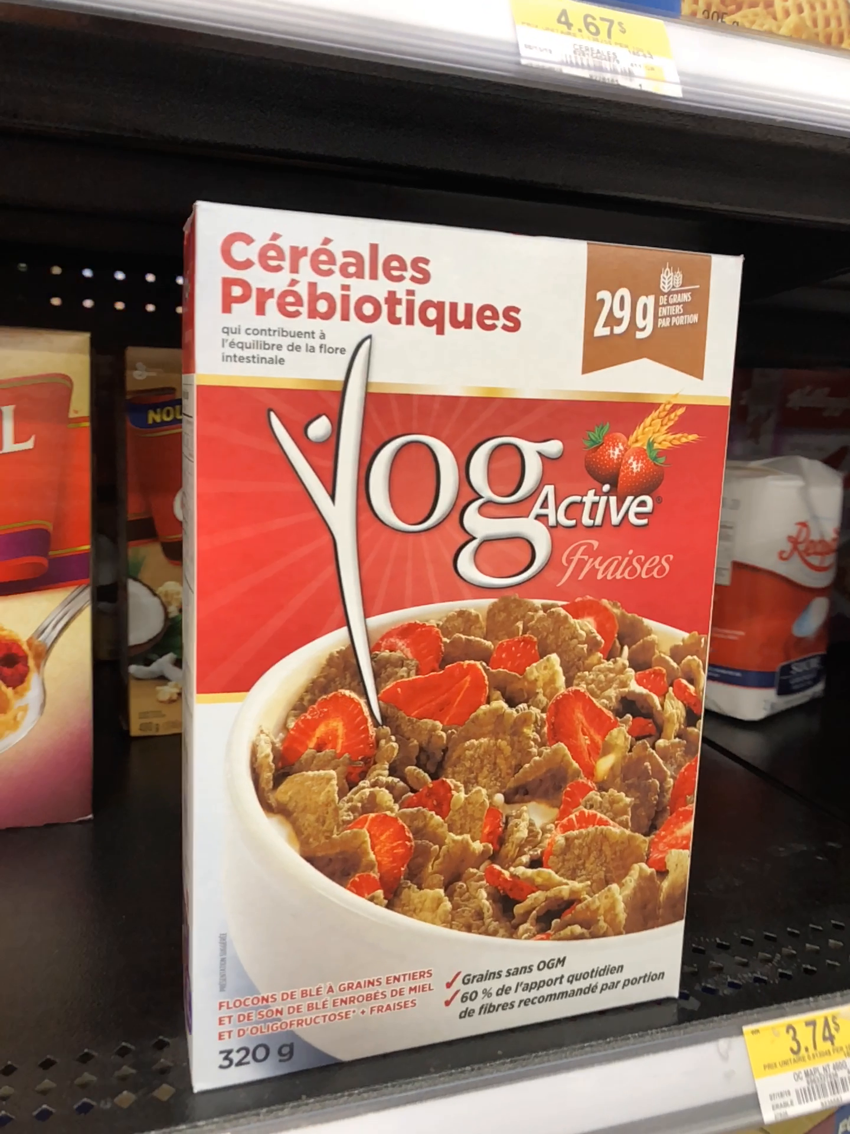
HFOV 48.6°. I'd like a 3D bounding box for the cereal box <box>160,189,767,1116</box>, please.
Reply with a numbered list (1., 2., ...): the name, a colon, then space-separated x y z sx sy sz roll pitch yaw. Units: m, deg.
1. cereal box: 0.009 0.031 0.341 0.200 0.289 0.050 -1 10 -19
